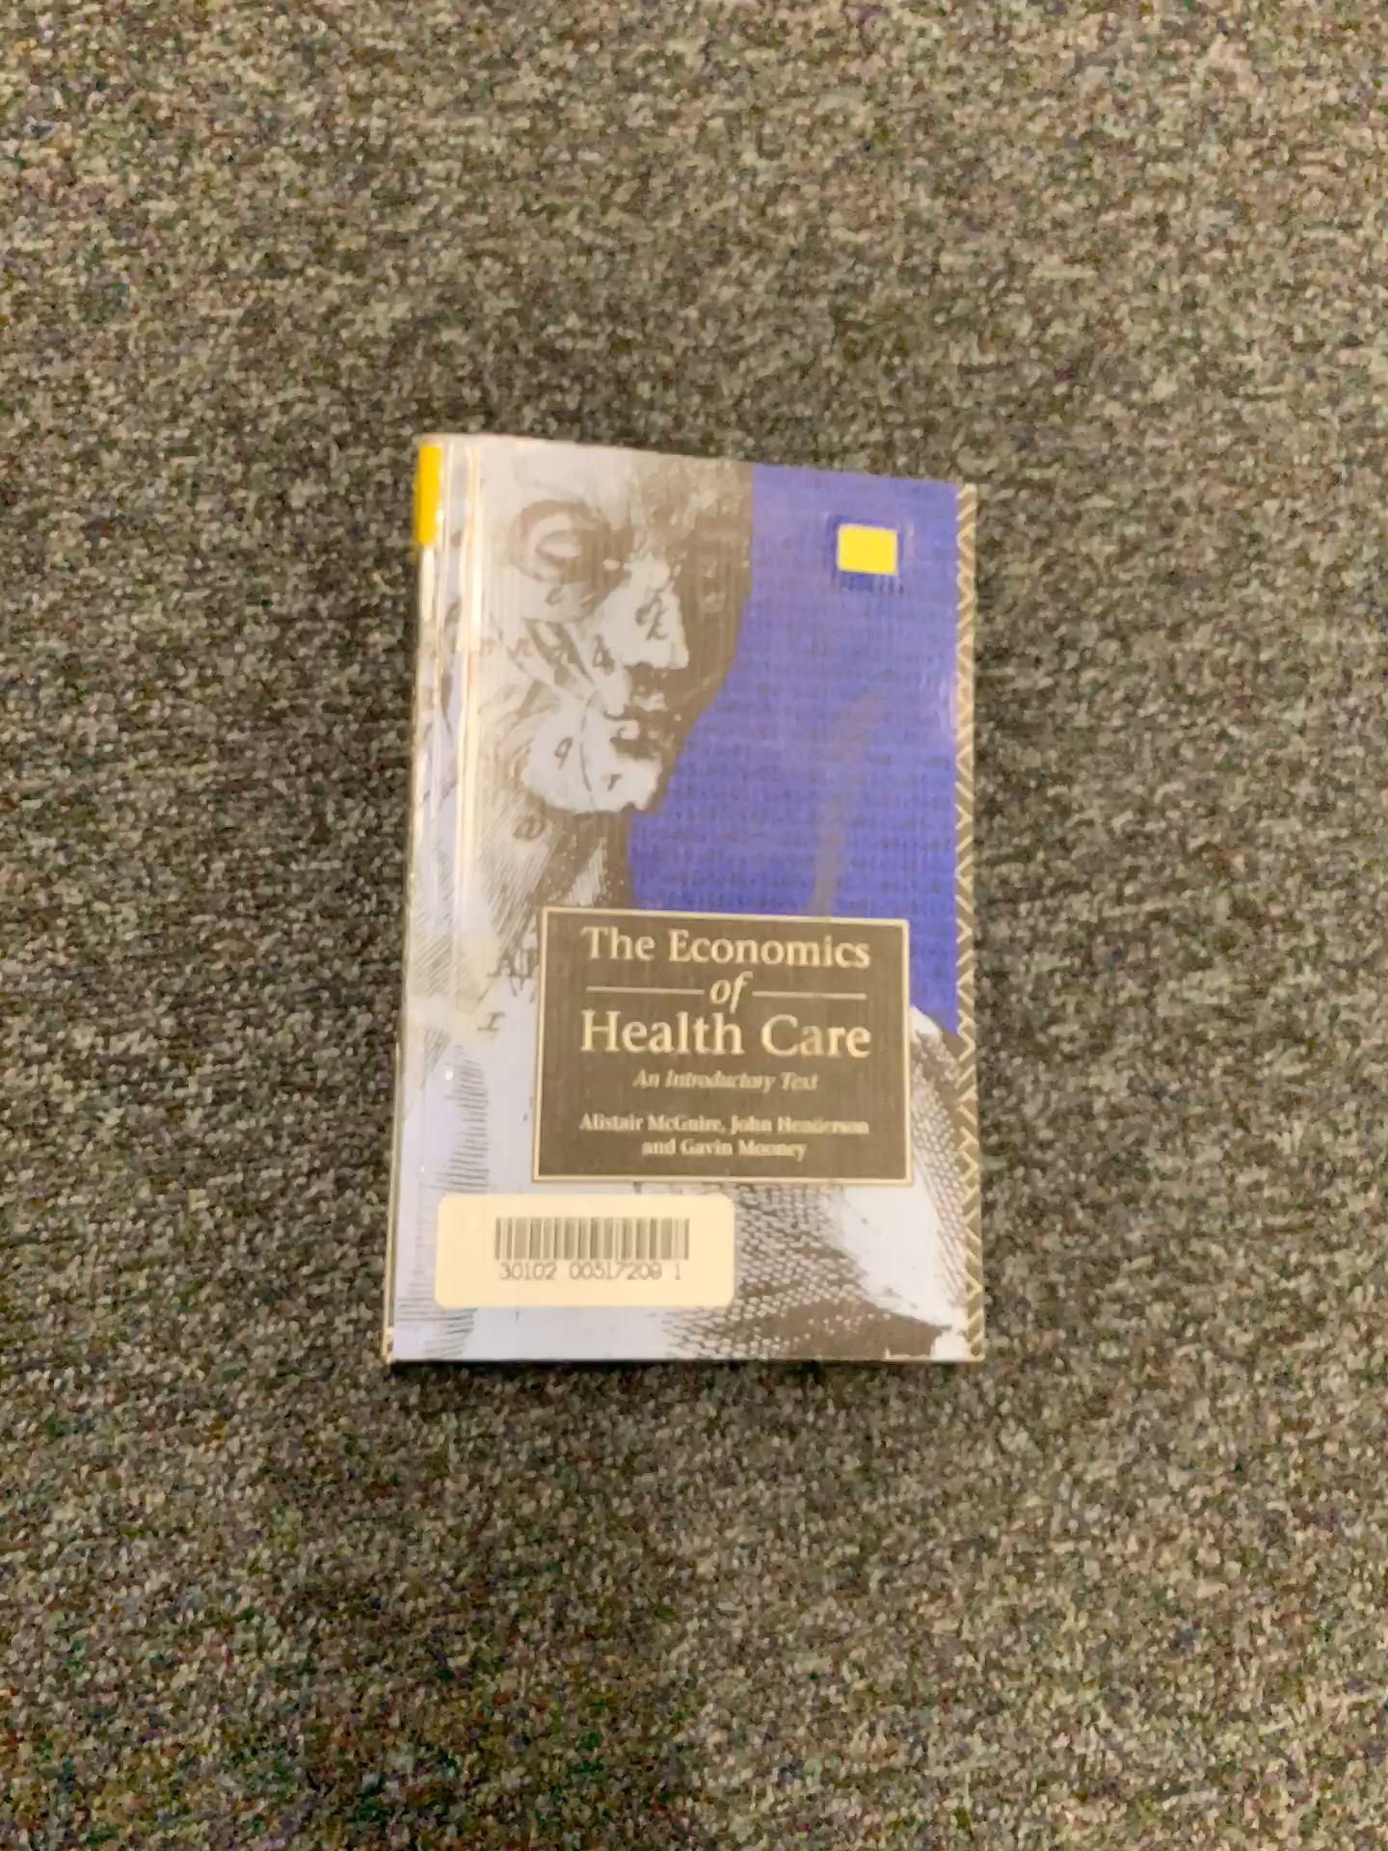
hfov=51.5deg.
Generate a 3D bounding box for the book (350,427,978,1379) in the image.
[{"bbox_3d":[-0.004,-0.004,0.336,0.135,0.030,0.207,3,84,-9],"label":"book"}]
